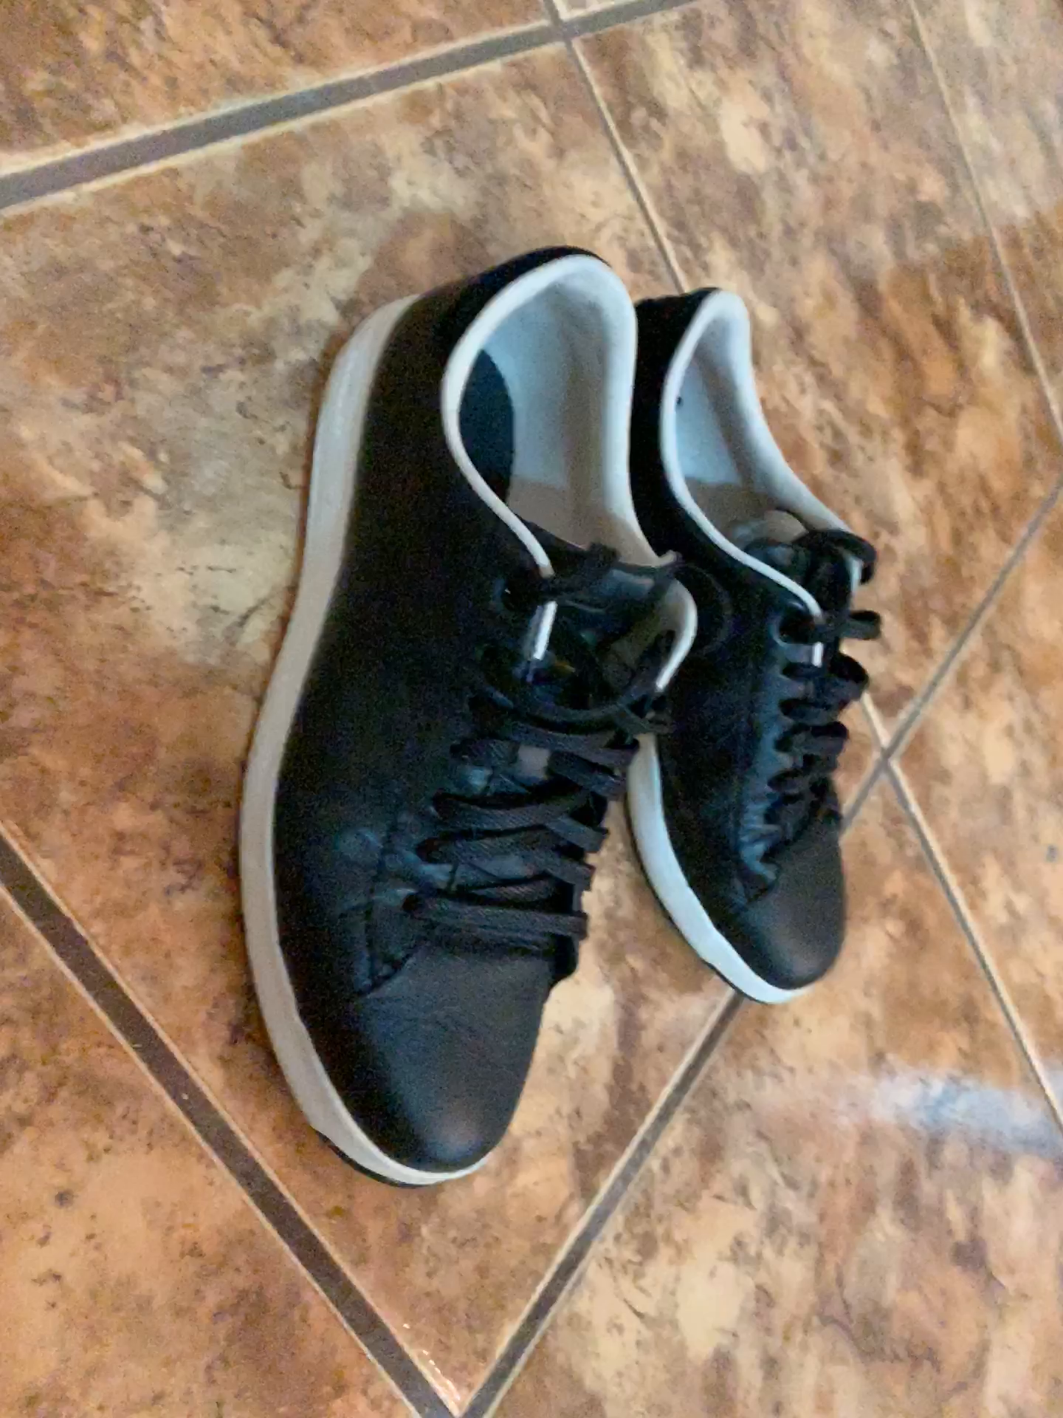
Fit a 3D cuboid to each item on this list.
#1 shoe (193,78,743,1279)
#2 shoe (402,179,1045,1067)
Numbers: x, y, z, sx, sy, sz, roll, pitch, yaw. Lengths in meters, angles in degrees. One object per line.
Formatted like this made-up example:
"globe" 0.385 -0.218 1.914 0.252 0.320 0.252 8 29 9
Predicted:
"shoe" -0.010 -0.008 0.284 0.087 0.093 0.255 16 71 -41
"shoe" 0.068 -0.023 0.362 0.090 0.103 0.255 -29 102 -43
